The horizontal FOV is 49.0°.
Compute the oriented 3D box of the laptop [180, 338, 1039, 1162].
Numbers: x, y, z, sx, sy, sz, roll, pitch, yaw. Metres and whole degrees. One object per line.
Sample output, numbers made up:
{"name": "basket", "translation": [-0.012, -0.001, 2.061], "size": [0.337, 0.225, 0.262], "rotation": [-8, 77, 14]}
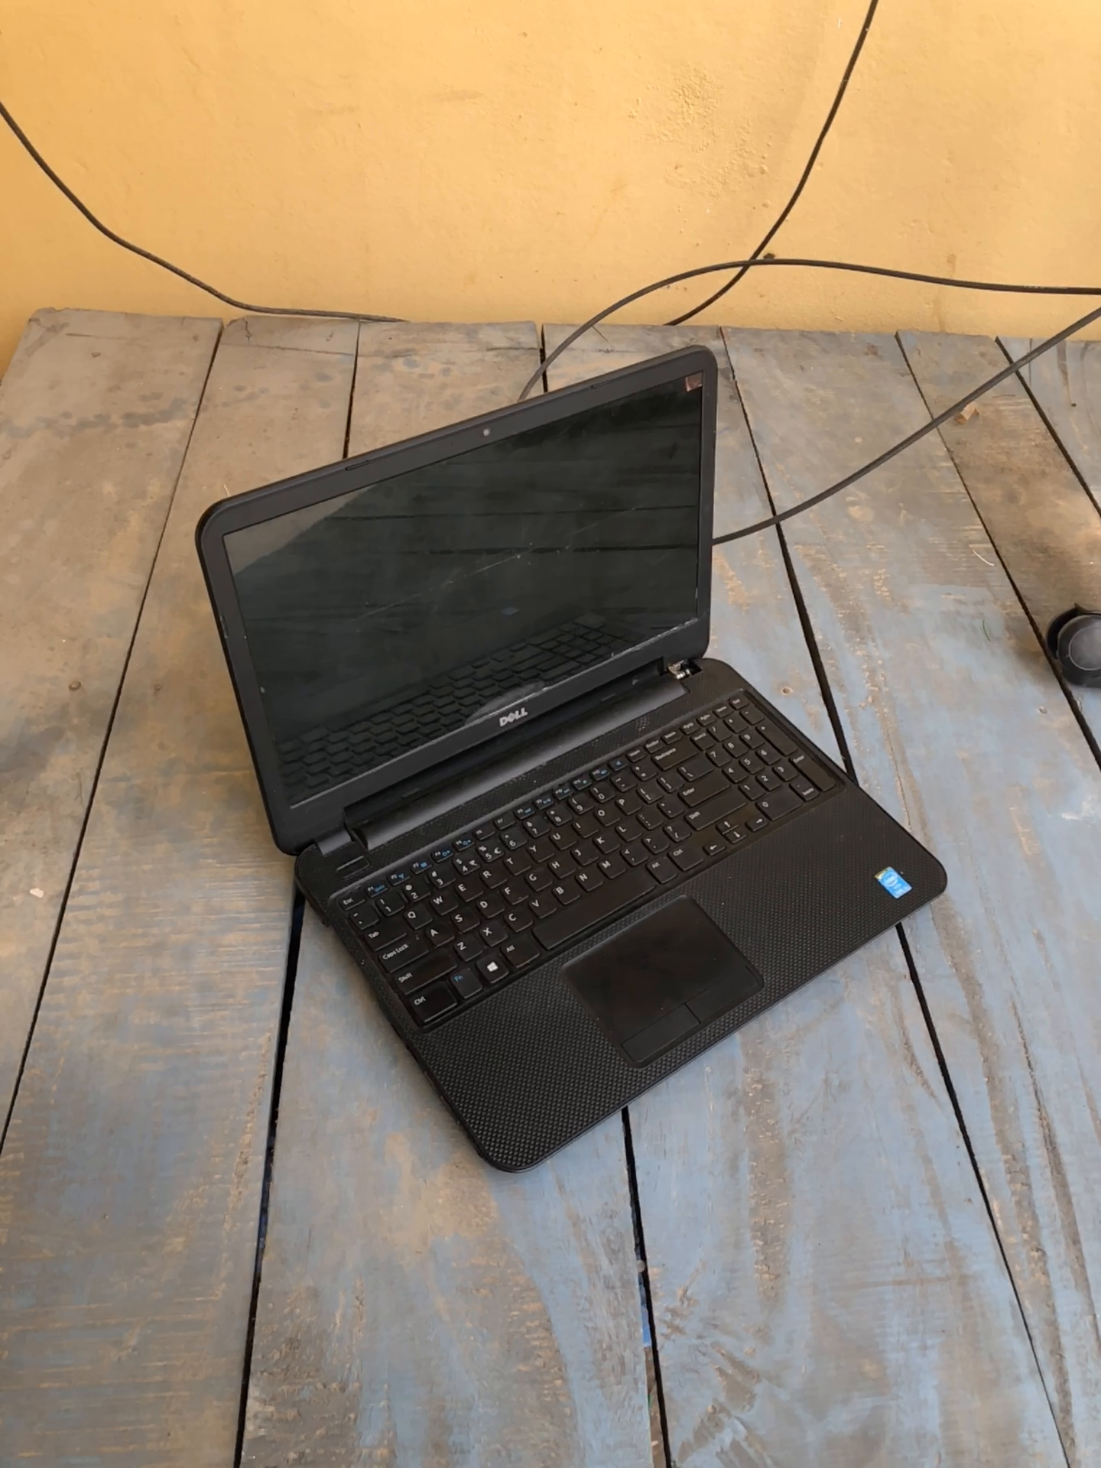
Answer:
{"name": "laptop", "translation": [0.025, -0.016, 0.704], "size": [0.332, 0.214, 0.307], "rotation": [-26, 54, -26]}
